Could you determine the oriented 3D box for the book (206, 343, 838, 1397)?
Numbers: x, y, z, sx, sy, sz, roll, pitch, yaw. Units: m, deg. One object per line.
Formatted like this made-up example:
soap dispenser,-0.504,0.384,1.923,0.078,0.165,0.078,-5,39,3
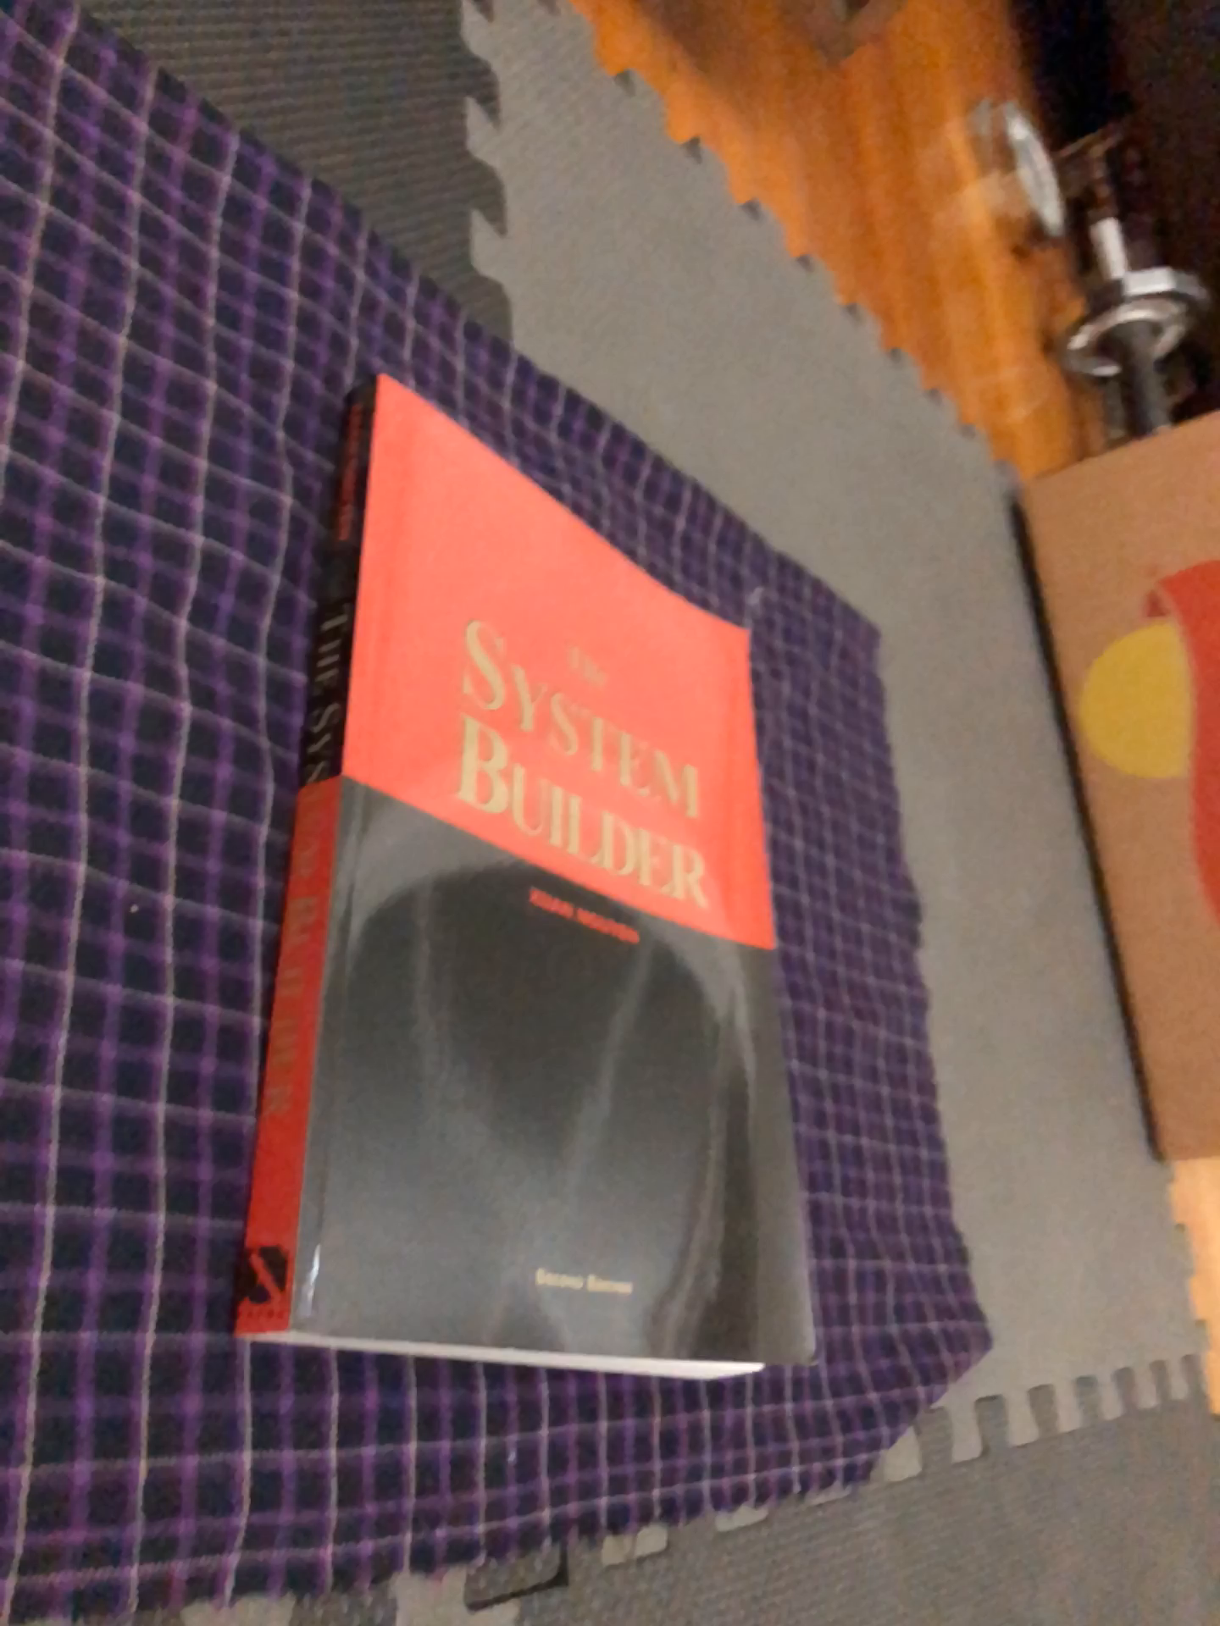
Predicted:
book,-0.008,0.026,0.395,0.201,0.030,0.261,28,53,-45
